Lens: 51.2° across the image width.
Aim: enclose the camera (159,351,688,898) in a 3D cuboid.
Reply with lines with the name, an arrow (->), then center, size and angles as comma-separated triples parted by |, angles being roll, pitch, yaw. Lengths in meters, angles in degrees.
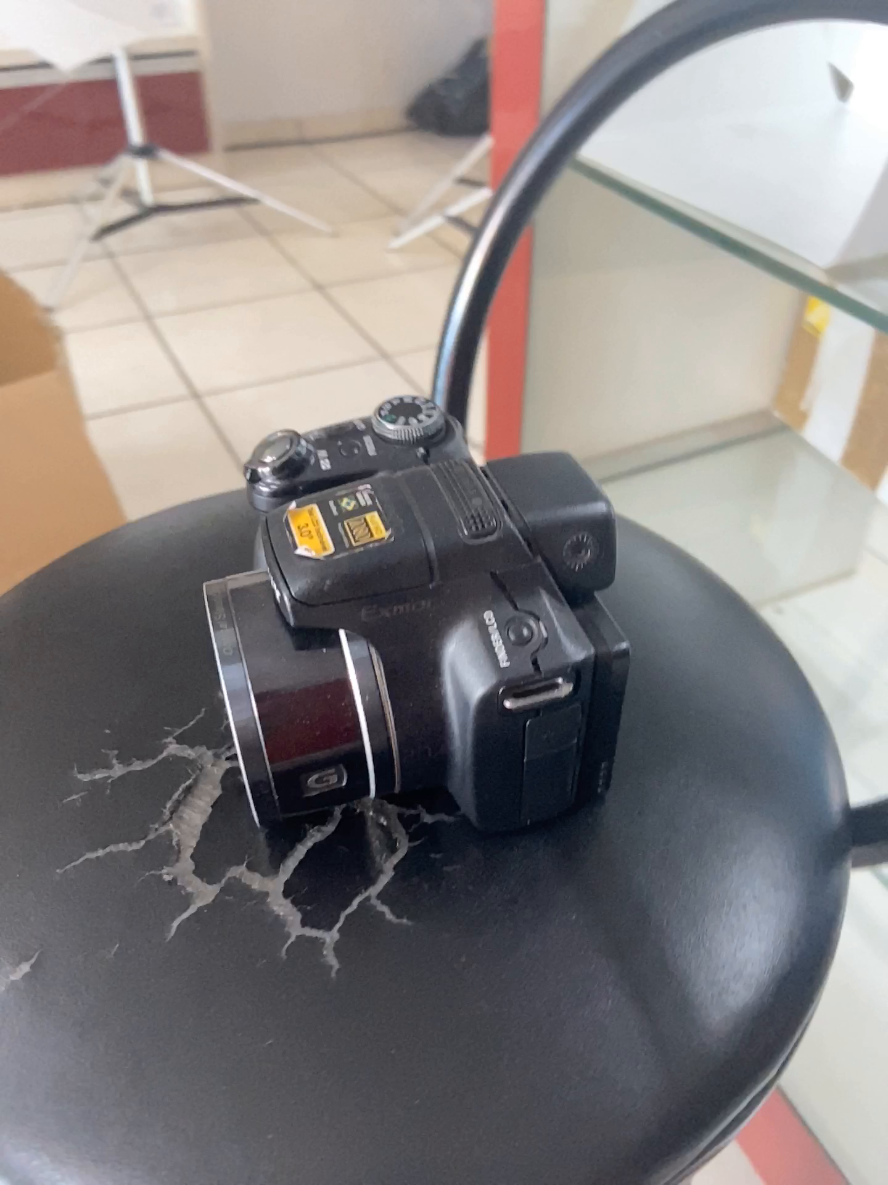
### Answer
camera -> -0.012, 0.001, 0.243 | 0.100, 0.079, 0.101 | -11, 41, -13
